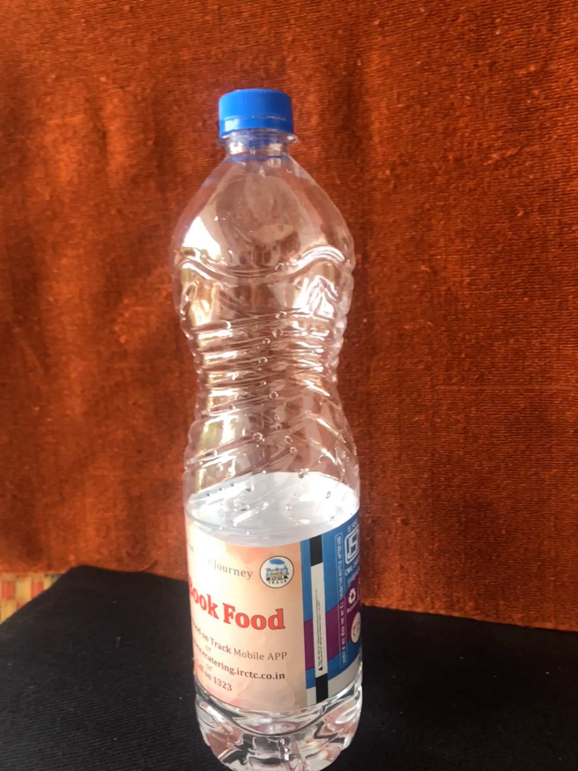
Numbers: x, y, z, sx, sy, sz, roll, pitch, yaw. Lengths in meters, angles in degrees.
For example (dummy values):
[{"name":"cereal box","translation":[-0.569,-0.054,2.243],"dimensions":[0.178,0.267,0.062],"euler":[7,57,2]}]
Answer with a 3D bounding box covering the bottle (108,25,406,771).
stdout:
[{"name":"bottle","translation":[-0.012,0.022,0.269],"dimensions":[0.070,0.279,0.090],"euler":[-11,15,-40]}]
